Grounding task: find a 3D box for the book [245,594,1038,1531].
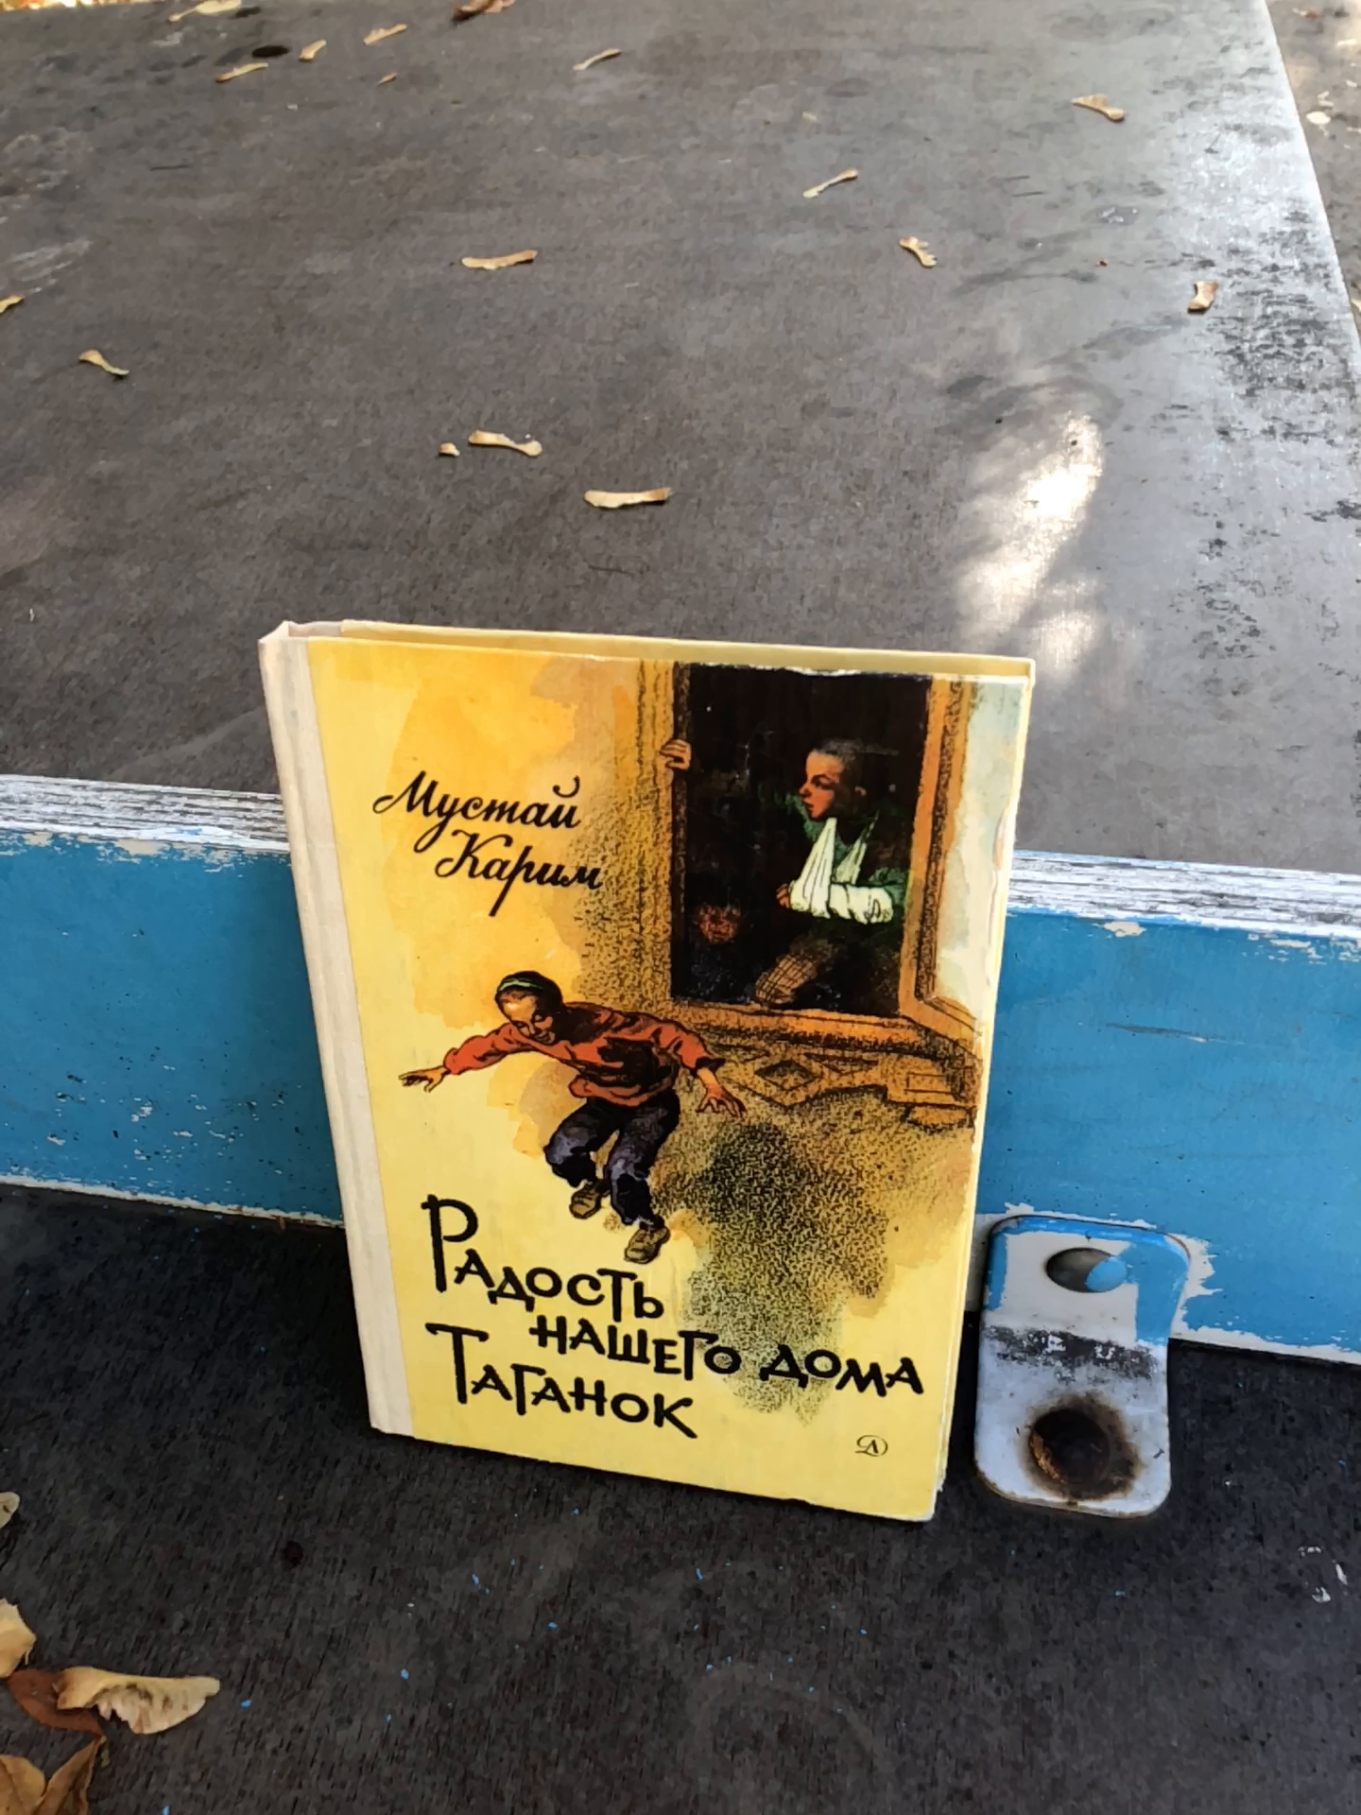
[{"bbox_3d":[-0.009,0.043,0.342,0.155,0.218,0.020,6,27,11],"label":"book"}]
